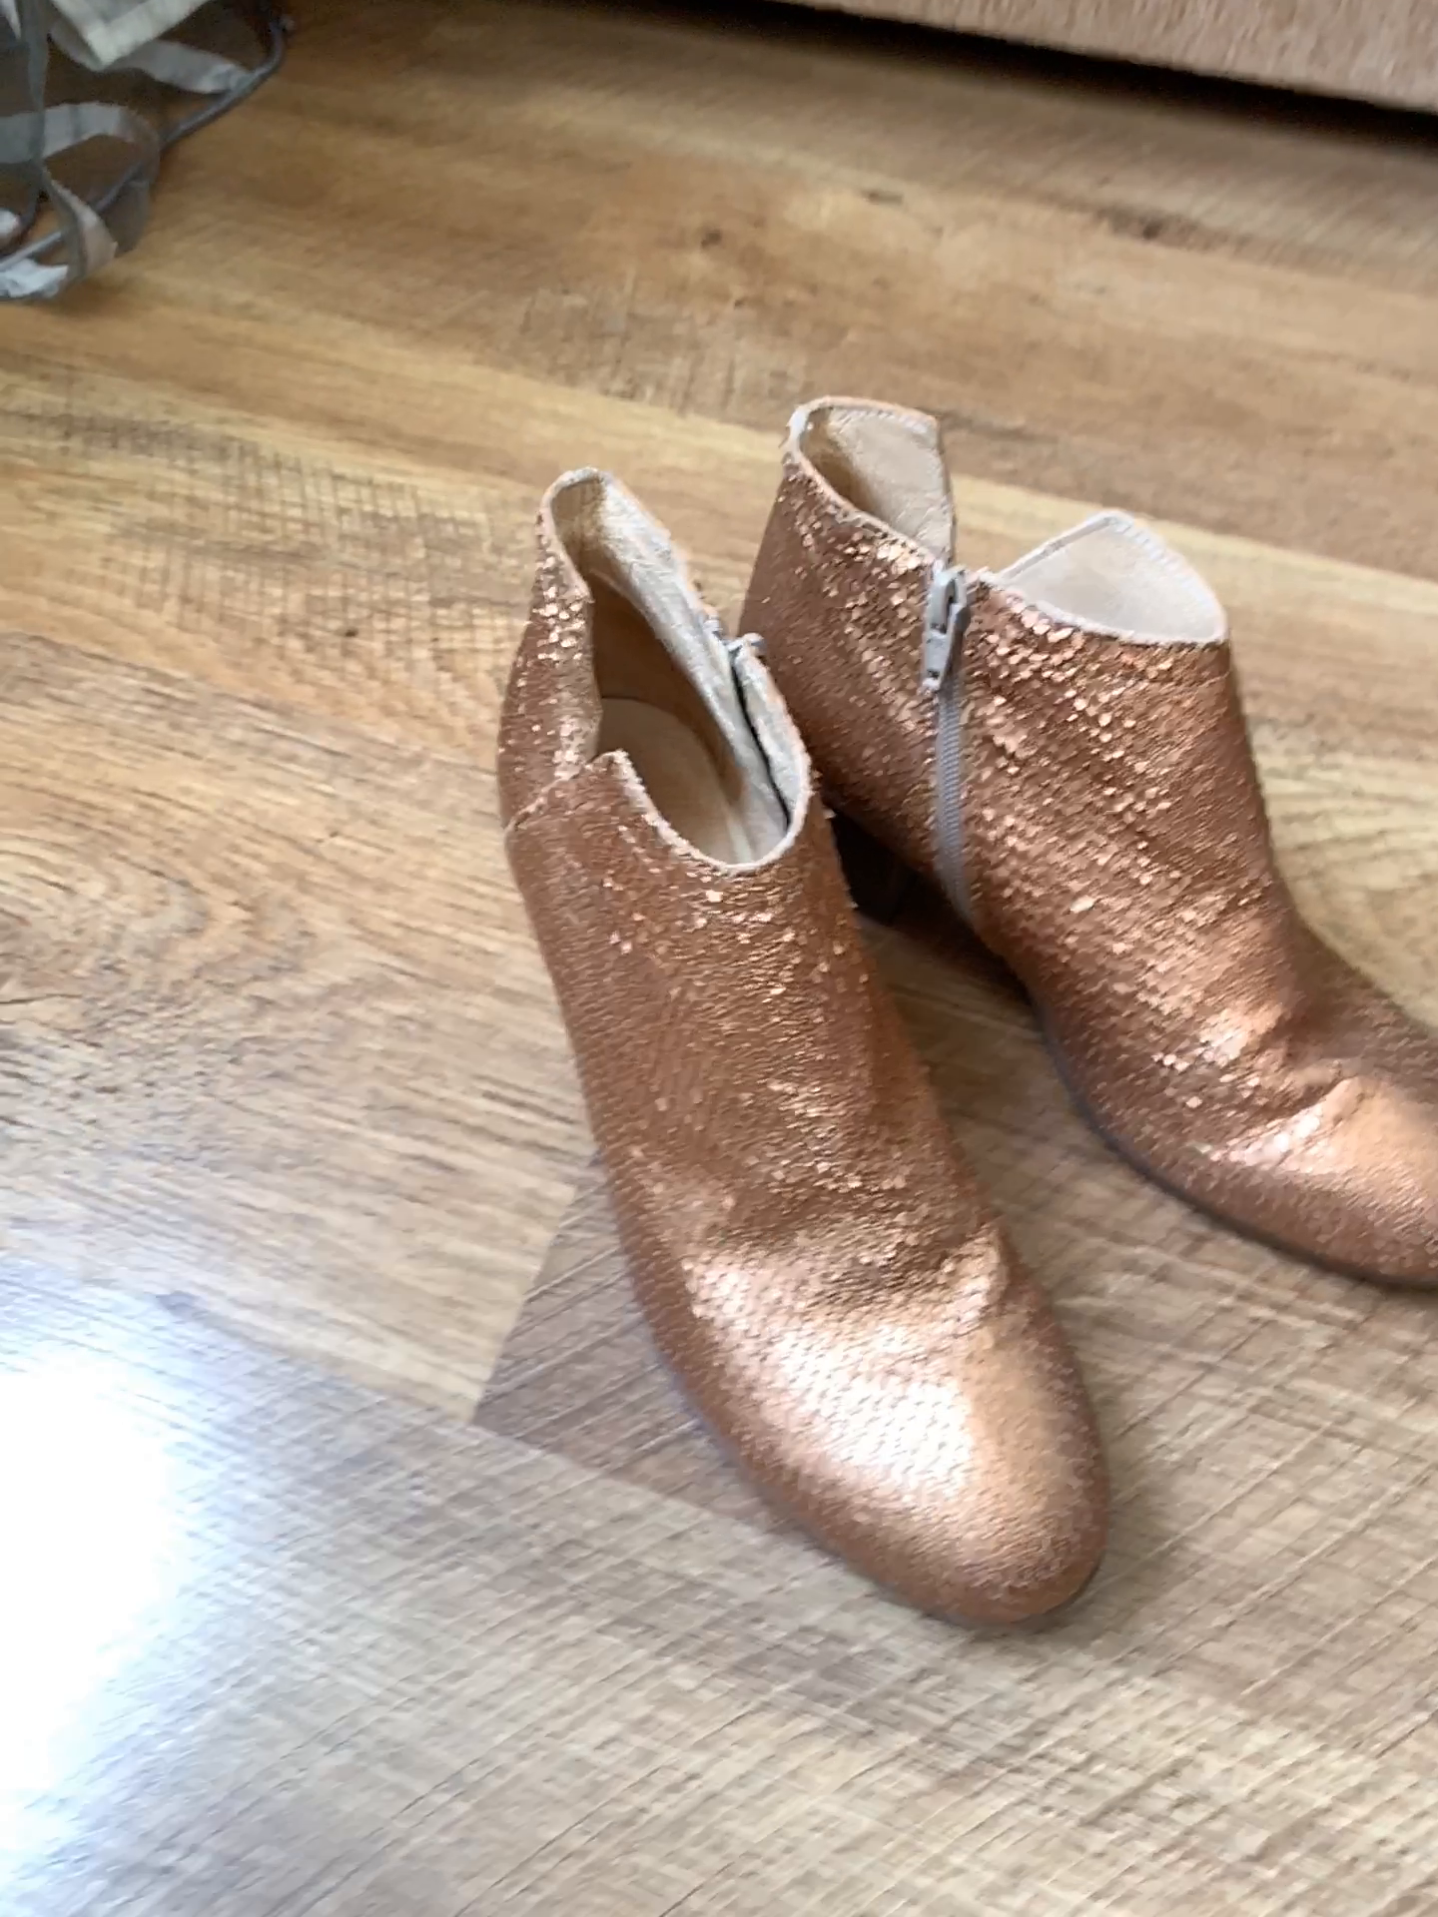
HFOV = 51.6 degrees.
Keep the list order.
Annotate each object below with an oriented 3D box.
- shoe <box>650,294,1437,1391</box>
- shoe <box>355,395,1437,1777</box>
[{"bbox_3d":[0.094,-0.029,0.329,0.220,0.129,0.080,36,61,23],"label":"shoe"},{"bbox_3d":[0.013,0.017,0.289,0.080,0.129,0.221,-20,56,-15],"label":"shoe"}]
